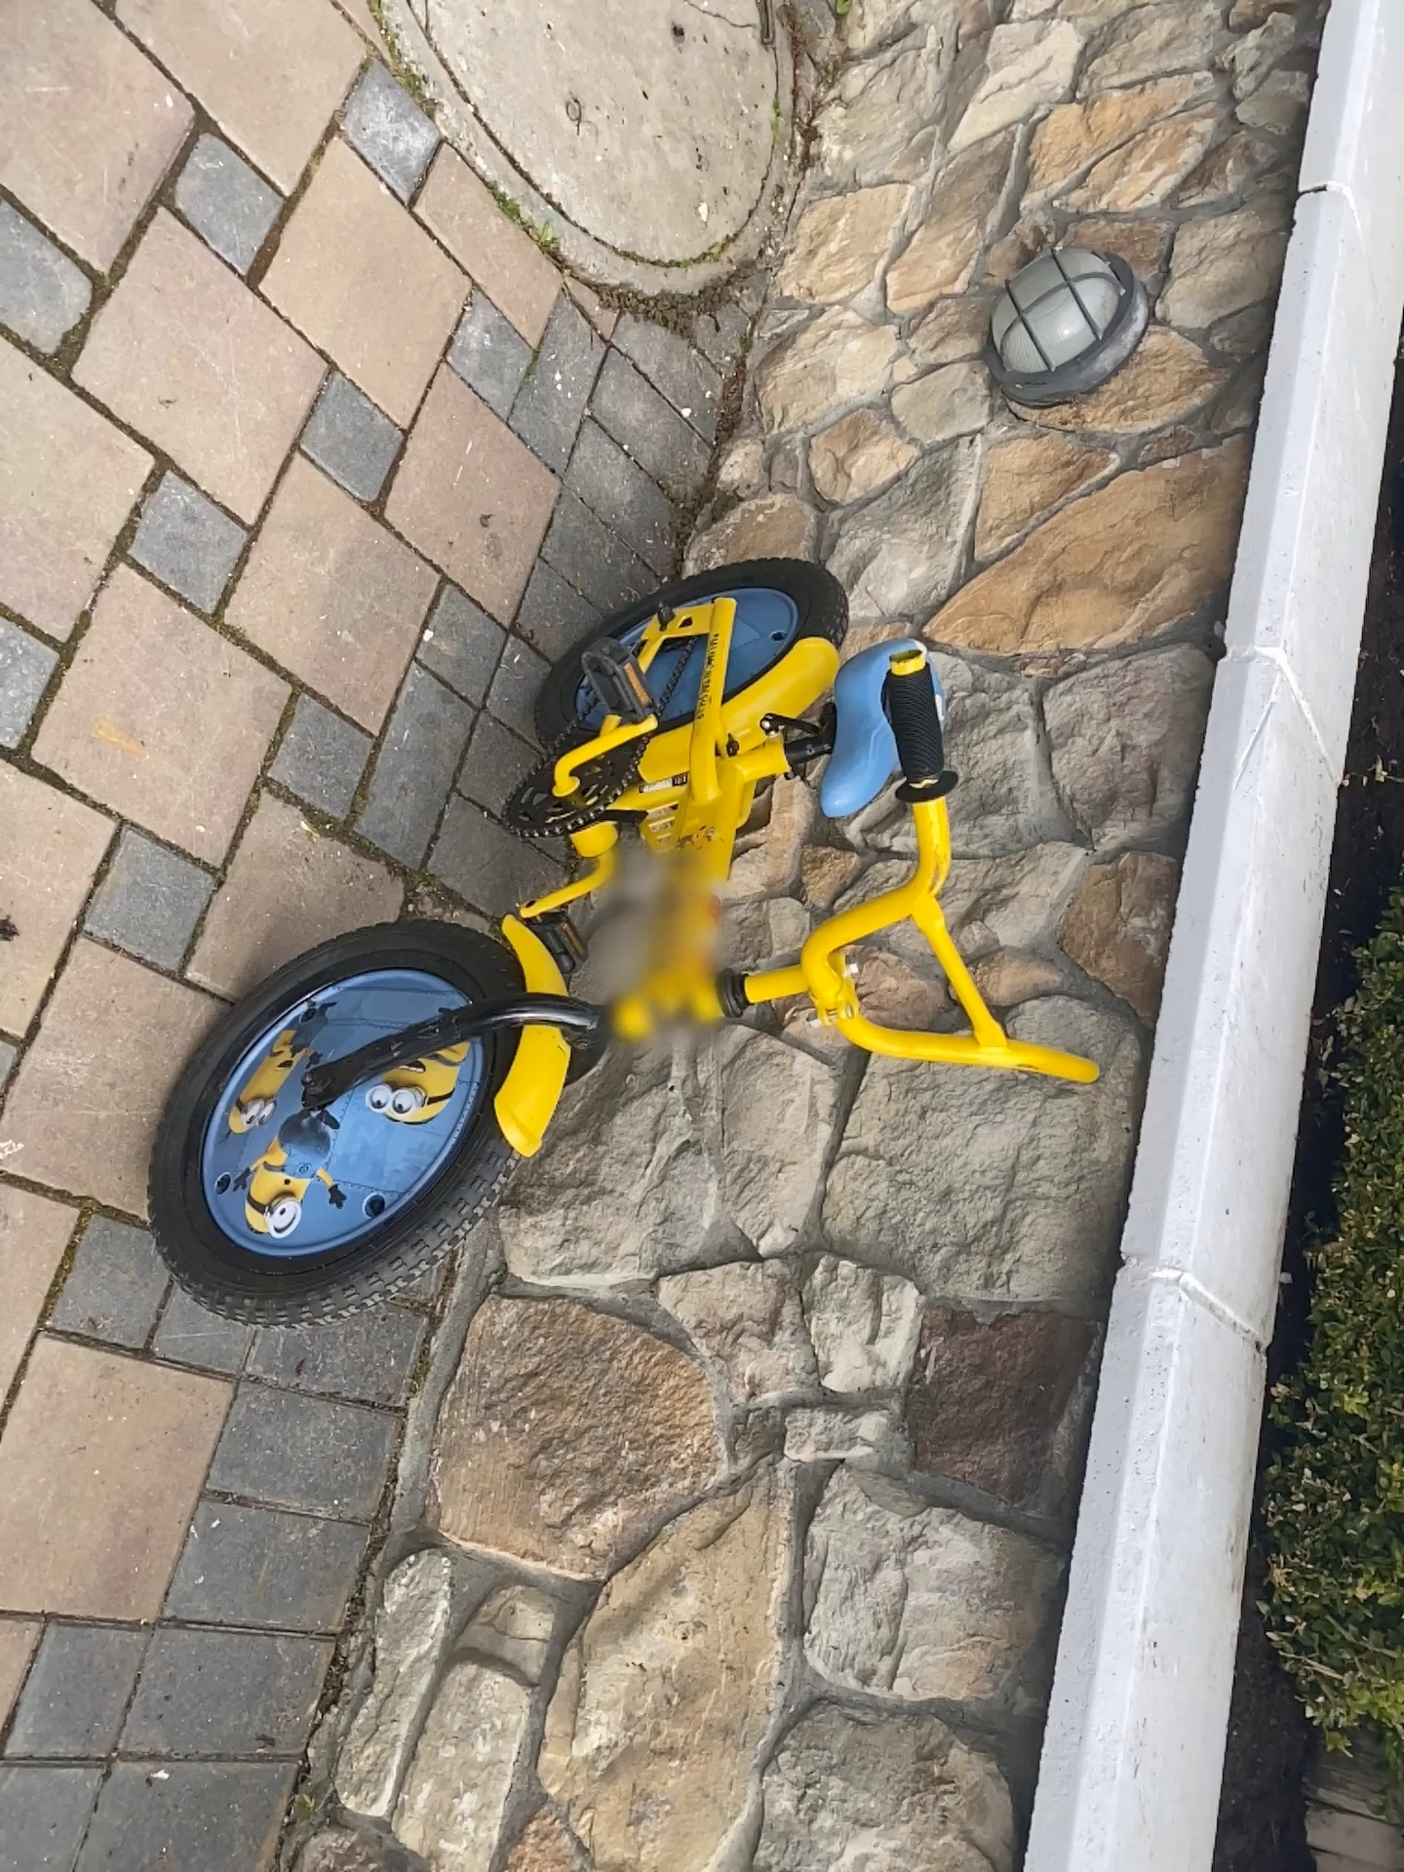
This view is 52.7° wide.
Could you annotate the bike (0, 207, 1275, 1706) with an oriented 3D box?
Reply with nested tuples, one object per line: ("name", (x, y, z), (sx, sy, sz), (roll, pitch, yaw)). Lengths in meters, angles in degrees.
("bike", (0.043, -0.051, 1.392), (0.621, 0.735, 1.088), (57, 45, -35))
